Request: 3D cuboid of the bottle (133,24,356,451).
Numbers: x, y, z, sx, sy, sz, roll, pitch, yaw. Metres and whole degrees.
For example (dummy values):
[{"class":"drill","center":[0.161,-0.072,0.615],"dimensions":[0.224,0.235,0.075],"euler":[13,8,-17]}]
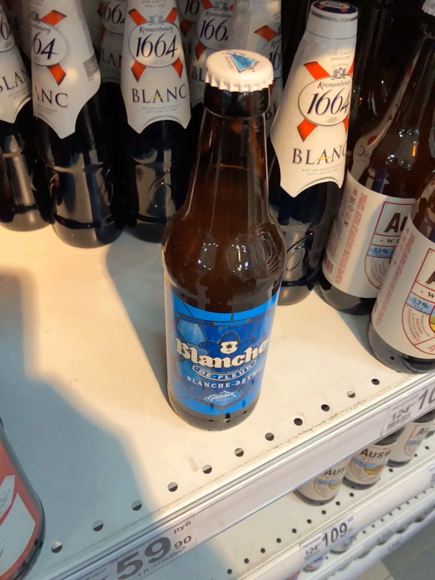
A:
[{"class":"bottle","center":[0.001,-0.006,0.276],"dimensions":[0.070,0.244,0.070],"euler":[2,45,-2]}]
